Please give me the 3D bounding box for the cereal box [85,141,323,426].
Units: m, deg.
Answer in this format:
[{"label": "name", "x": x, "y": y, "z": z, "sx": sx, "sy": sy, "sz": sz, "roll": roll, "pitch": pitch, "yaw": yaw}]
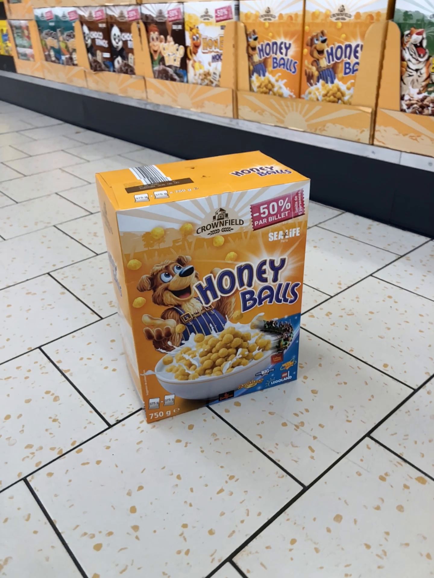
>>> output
[{"label": "cereal box", "x": -0.014, "y": -0.012, "z": 0.548, "sx": 0.210, "sy": 0.258, "sz": 0.131, "roll": -12, "pitch": 31, "yaw": -16}]
